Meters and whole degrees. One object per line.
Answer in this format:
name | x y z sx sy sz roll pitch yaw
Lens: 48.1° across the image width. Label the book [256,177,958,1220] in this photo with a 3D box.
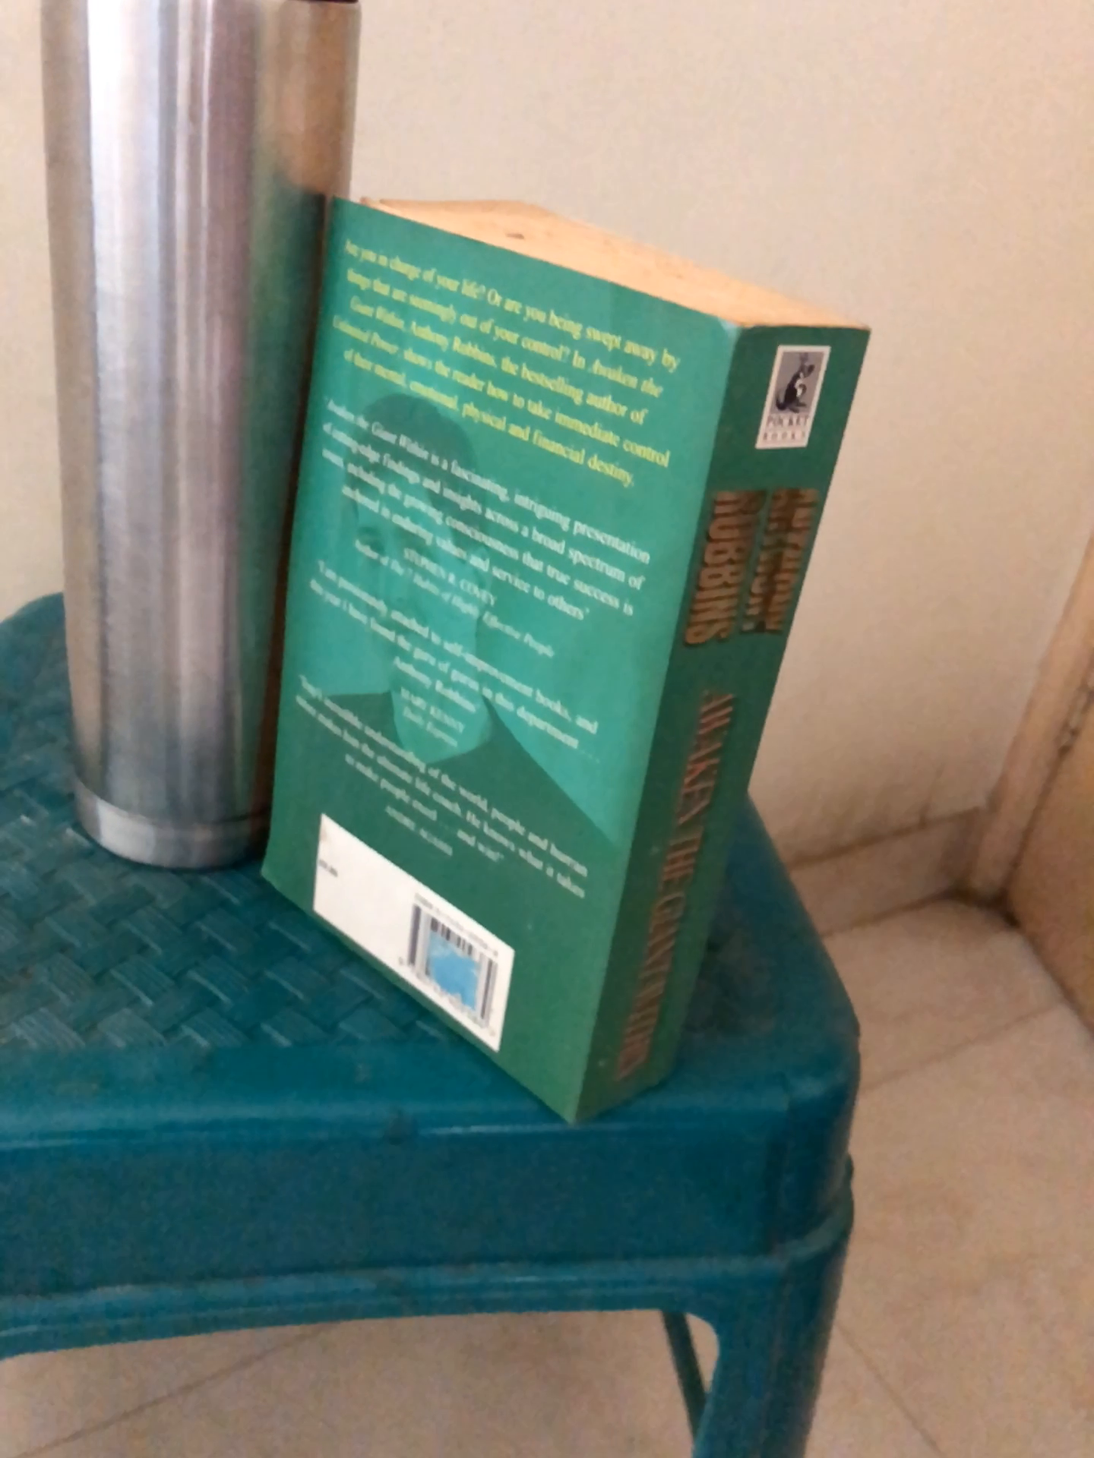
book | -0.007 -0.009 0.292 0.050 0.199 0.140 -19 42 -39
